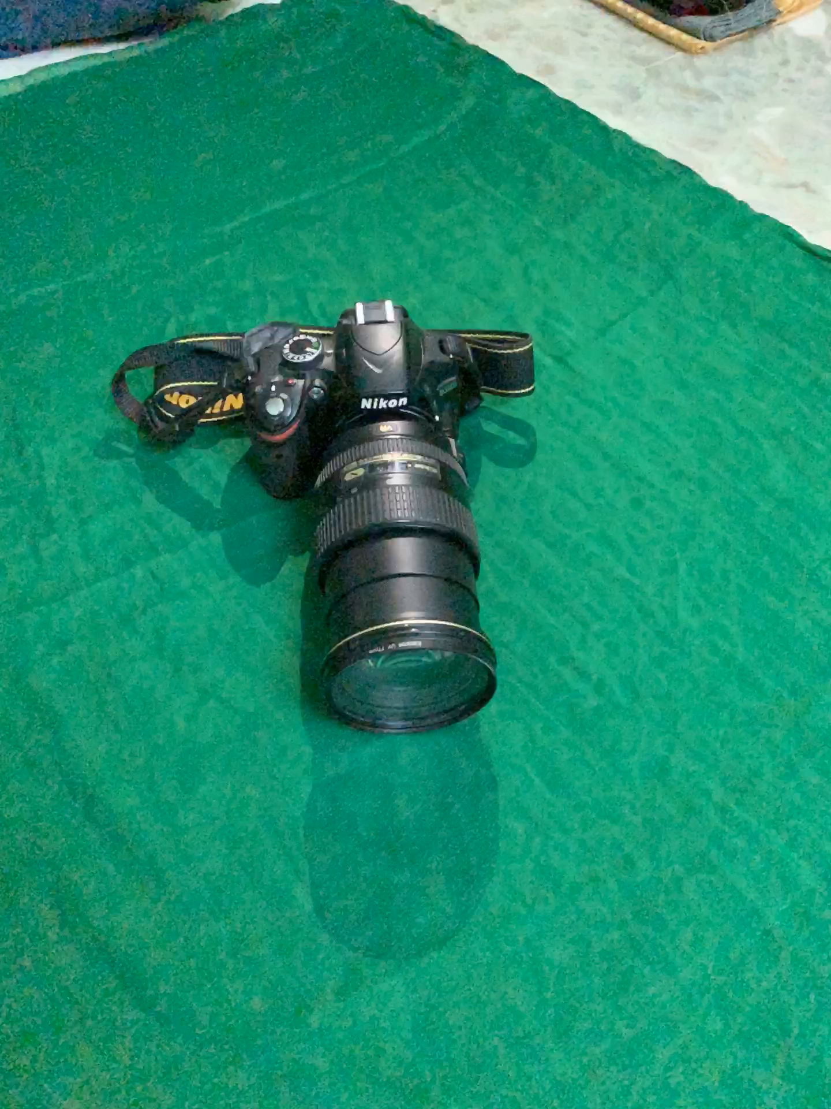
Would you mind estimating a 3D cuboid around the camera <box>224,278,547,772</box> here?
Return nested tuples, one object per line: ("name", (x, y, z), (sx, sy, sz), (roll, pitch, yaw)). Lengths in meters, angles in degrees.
("camera", (-0.020, -0.025, 0.426), (0.122, 0.088, 0.235), (-4, 54, -3))
